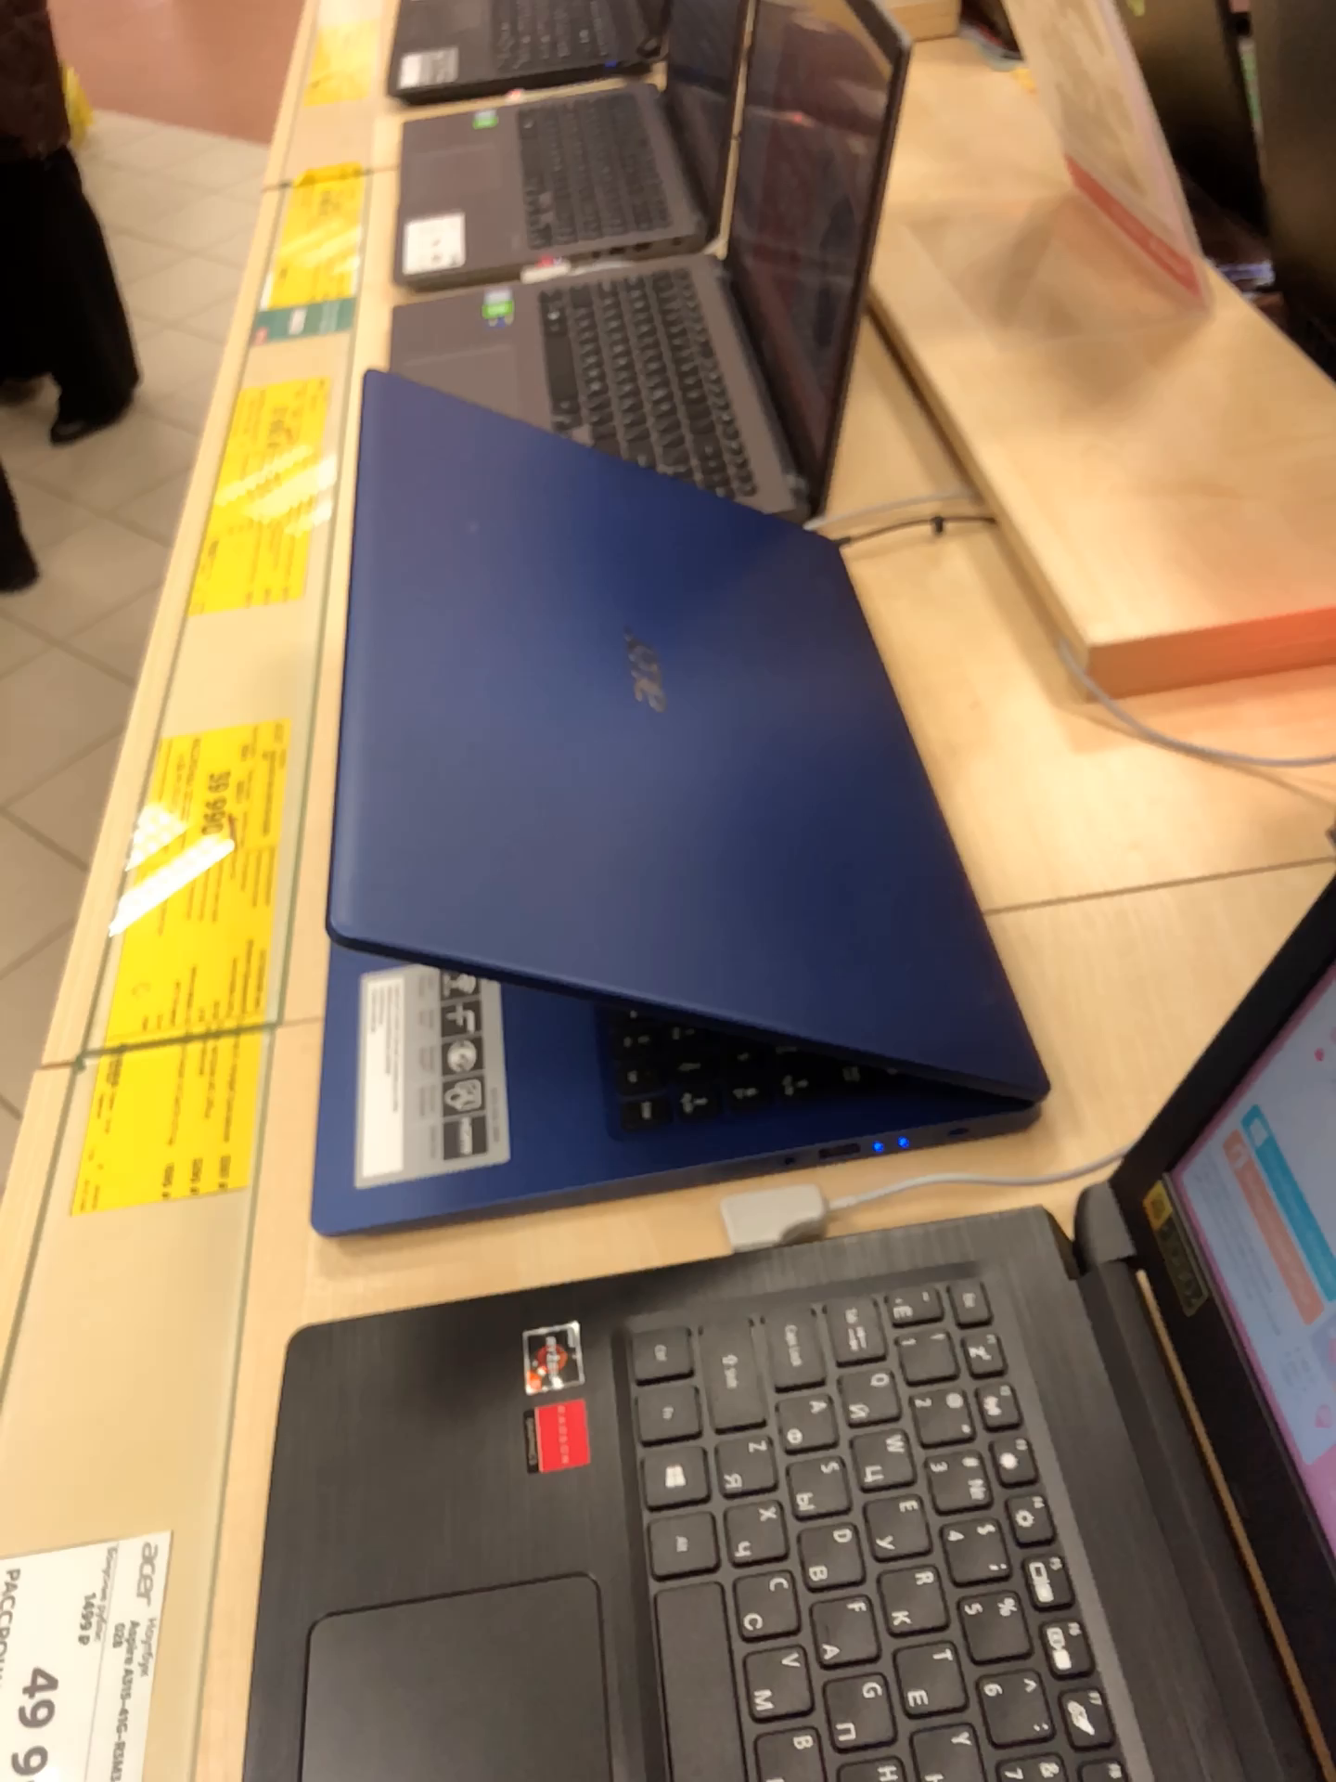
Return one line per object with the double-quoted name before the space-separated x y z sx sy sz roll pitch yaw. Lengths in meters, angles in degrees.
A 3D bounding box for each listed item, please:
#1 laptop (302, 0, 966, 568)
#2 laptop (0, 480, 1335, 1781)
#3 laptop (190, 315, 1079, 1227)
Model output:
"laptop" -0.028 -0.413 0.874 0.302 0.206 0.392 -11 43 2
"laptop" 0.062 0.143 0.242 0.353 0.227 0.359 -8 42 3
"laptop" -0.021 -0.075 0.585 0.245 0.126 0.369 -9 42 1
